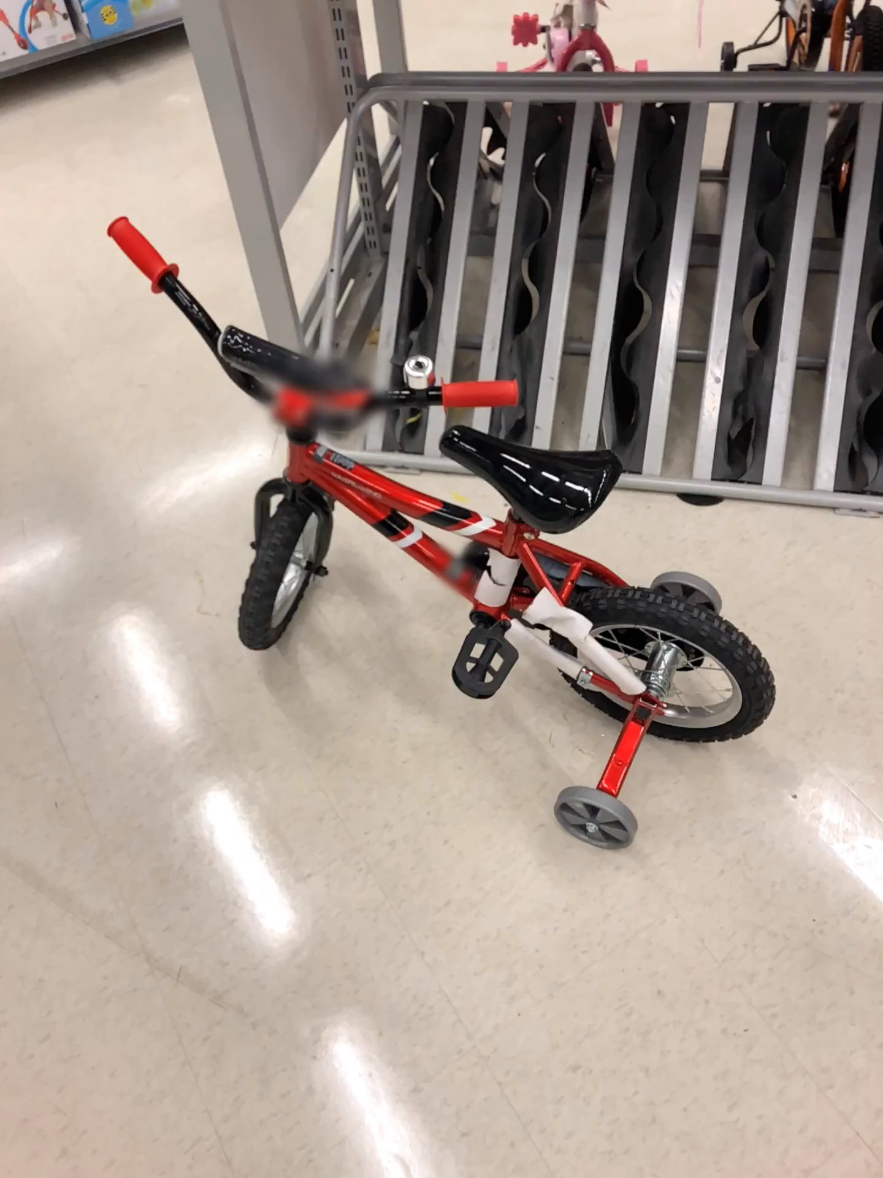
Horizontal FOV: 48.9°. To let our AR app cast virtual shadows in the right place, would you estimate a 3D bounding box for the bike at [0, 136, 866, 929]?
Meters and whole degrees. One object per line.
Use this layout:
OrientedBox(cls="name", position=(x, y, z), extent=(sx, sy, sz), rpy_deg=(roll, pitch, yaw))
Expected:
OrientedBox(cls="bike", position=(0.042, -0.058, 1.143), extent=(0.699, 0.678, 0.534), rpy_deg=(8, 51, 13))
